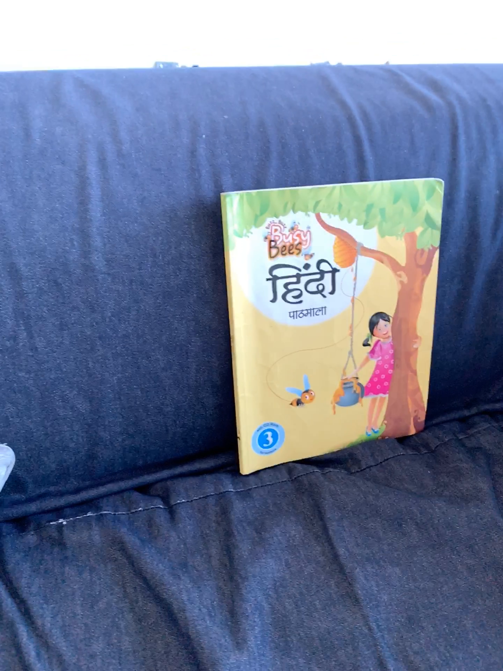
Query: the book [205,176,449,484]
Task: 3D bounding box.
[{"bbox_3d":[0.080,-0.005,0.519,0.230,0.284,0.029,-8,19,-15],"label":"book"}]
